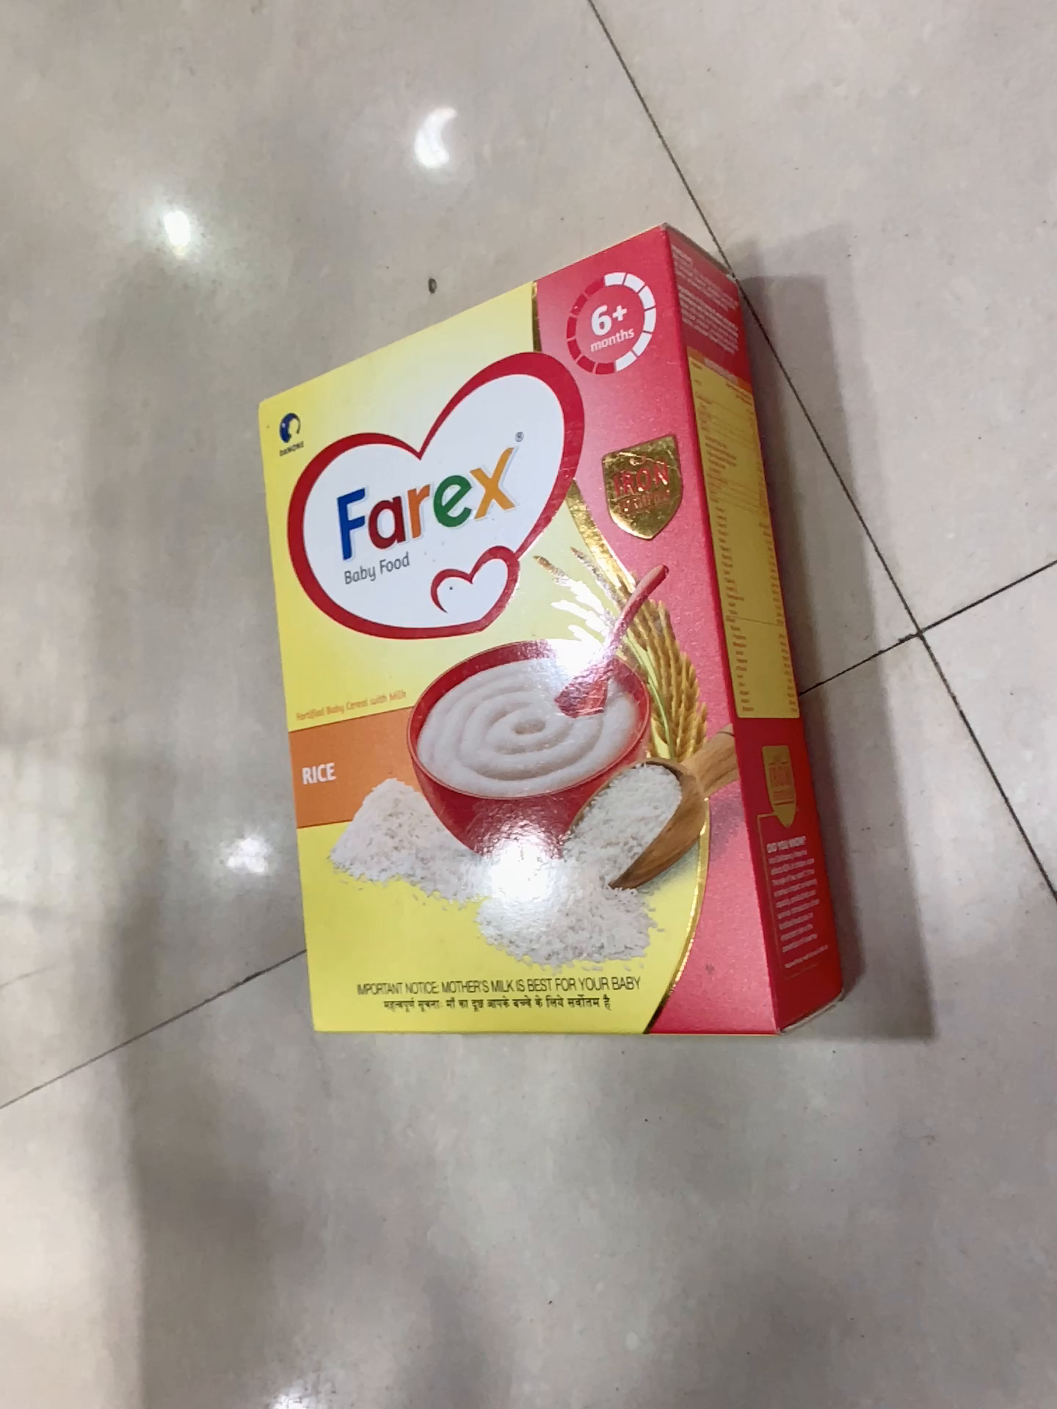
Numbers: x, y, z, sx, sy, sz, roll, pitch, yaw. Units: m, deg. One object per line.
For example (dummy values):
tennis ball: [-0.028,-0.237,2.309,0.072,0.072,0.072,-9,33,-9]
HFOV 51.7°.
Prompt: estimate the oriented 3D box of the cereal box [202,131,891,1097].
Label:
cereal box: [-0.005,-0.011,0.300,0.161,0.060,0.210,-11,82,33]
